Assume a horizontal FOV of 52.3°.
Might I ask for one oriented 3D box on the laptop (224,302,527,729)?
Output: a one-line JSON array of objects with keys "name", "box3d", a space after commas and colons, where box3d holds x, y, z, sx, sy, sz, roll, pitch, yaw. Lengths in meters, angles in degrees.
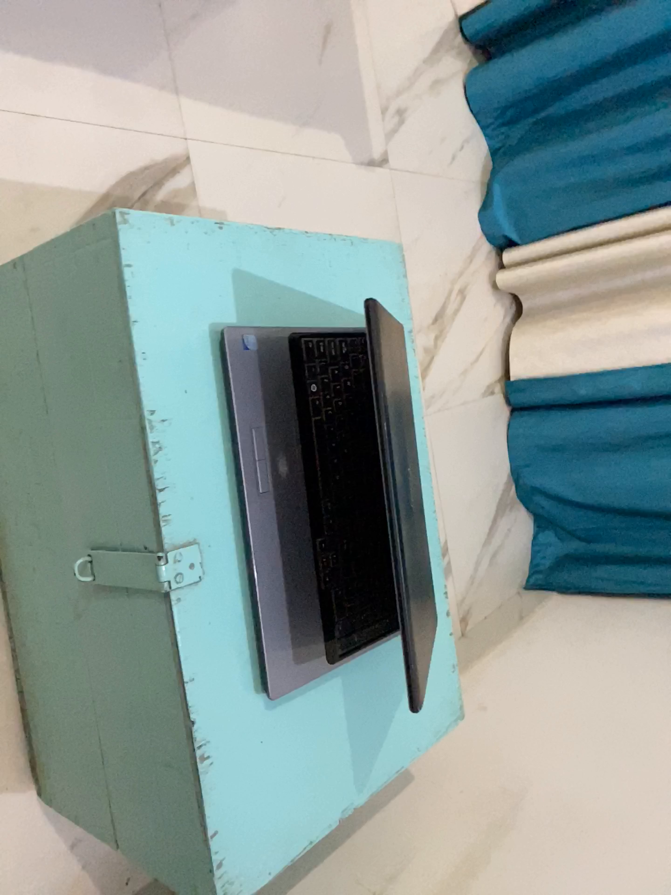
[{"name": "laptop", "box3d": [0.056, 0.051, 0.754, 0.262, 0.152, 0.387, -11, 95, -46]}]
